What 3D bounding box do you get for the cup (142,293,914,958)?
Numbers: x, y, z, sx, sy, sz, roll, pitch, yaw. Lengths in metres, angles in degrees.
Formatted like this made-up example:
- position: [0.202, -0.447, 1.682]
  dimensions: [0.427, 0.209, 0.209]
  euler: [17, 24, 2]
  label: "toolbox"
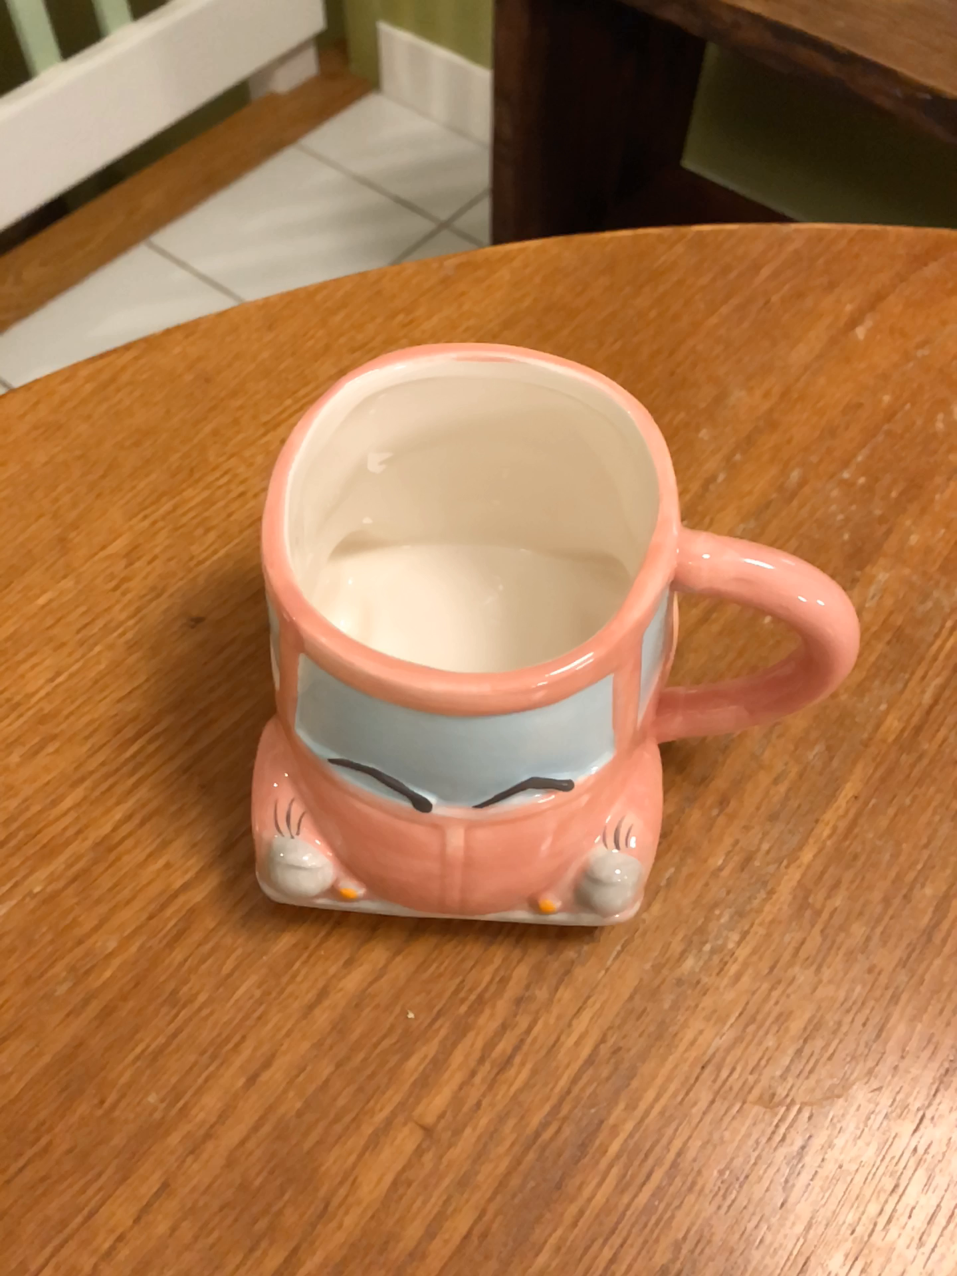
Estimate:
- position: [0.011, -0.001, 0.267]
  dimensions: [0.139, 0.097, 0.128]
  euler: [0, 58, -1]
  label: "cup"
